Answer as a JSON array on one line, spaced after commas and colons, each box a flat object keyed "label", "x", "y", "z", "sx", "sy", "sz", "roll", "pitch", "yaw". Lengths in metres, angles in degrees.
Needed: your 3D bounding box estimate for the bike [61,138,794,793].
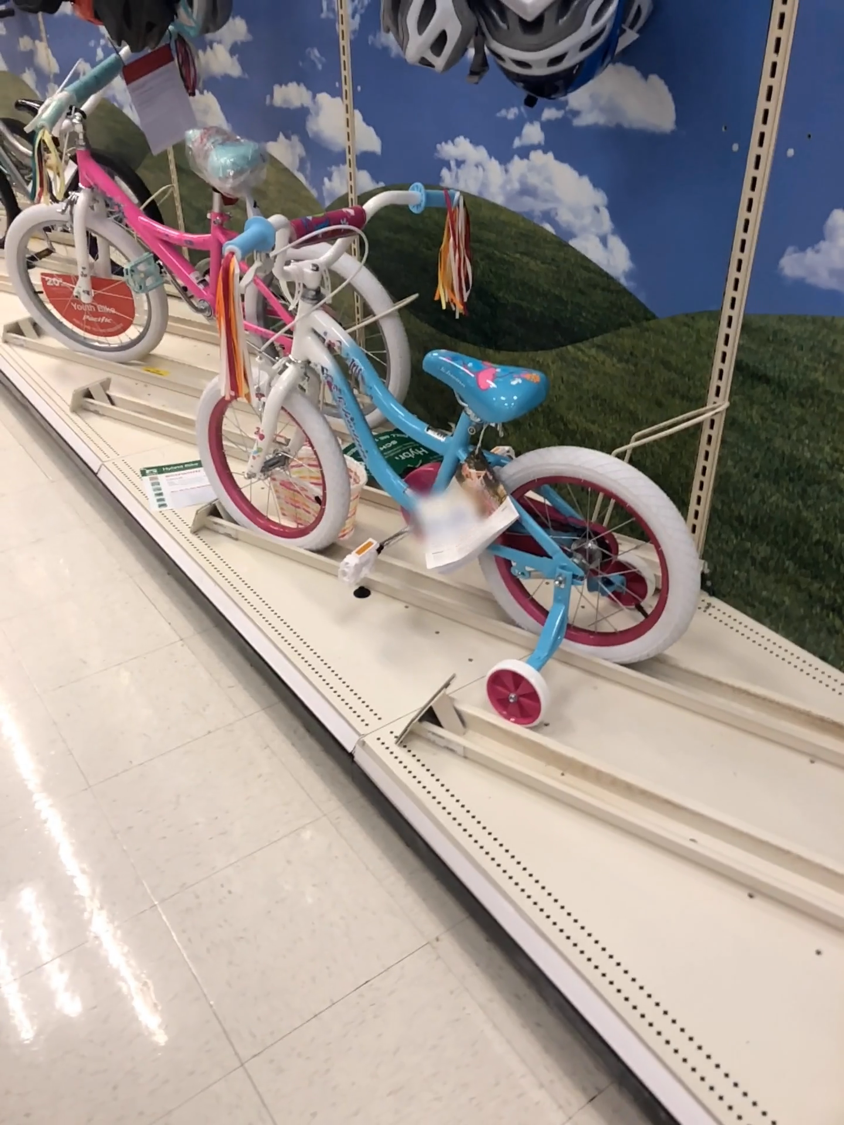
[{"label": "bike", "x": -0.009, "y": -0.265, "z": 1.652, "sx": 1.092, "sy": 0.723, "sz": 0.534, "roll": 21, "pitch": 38, "yaw": 27}]
